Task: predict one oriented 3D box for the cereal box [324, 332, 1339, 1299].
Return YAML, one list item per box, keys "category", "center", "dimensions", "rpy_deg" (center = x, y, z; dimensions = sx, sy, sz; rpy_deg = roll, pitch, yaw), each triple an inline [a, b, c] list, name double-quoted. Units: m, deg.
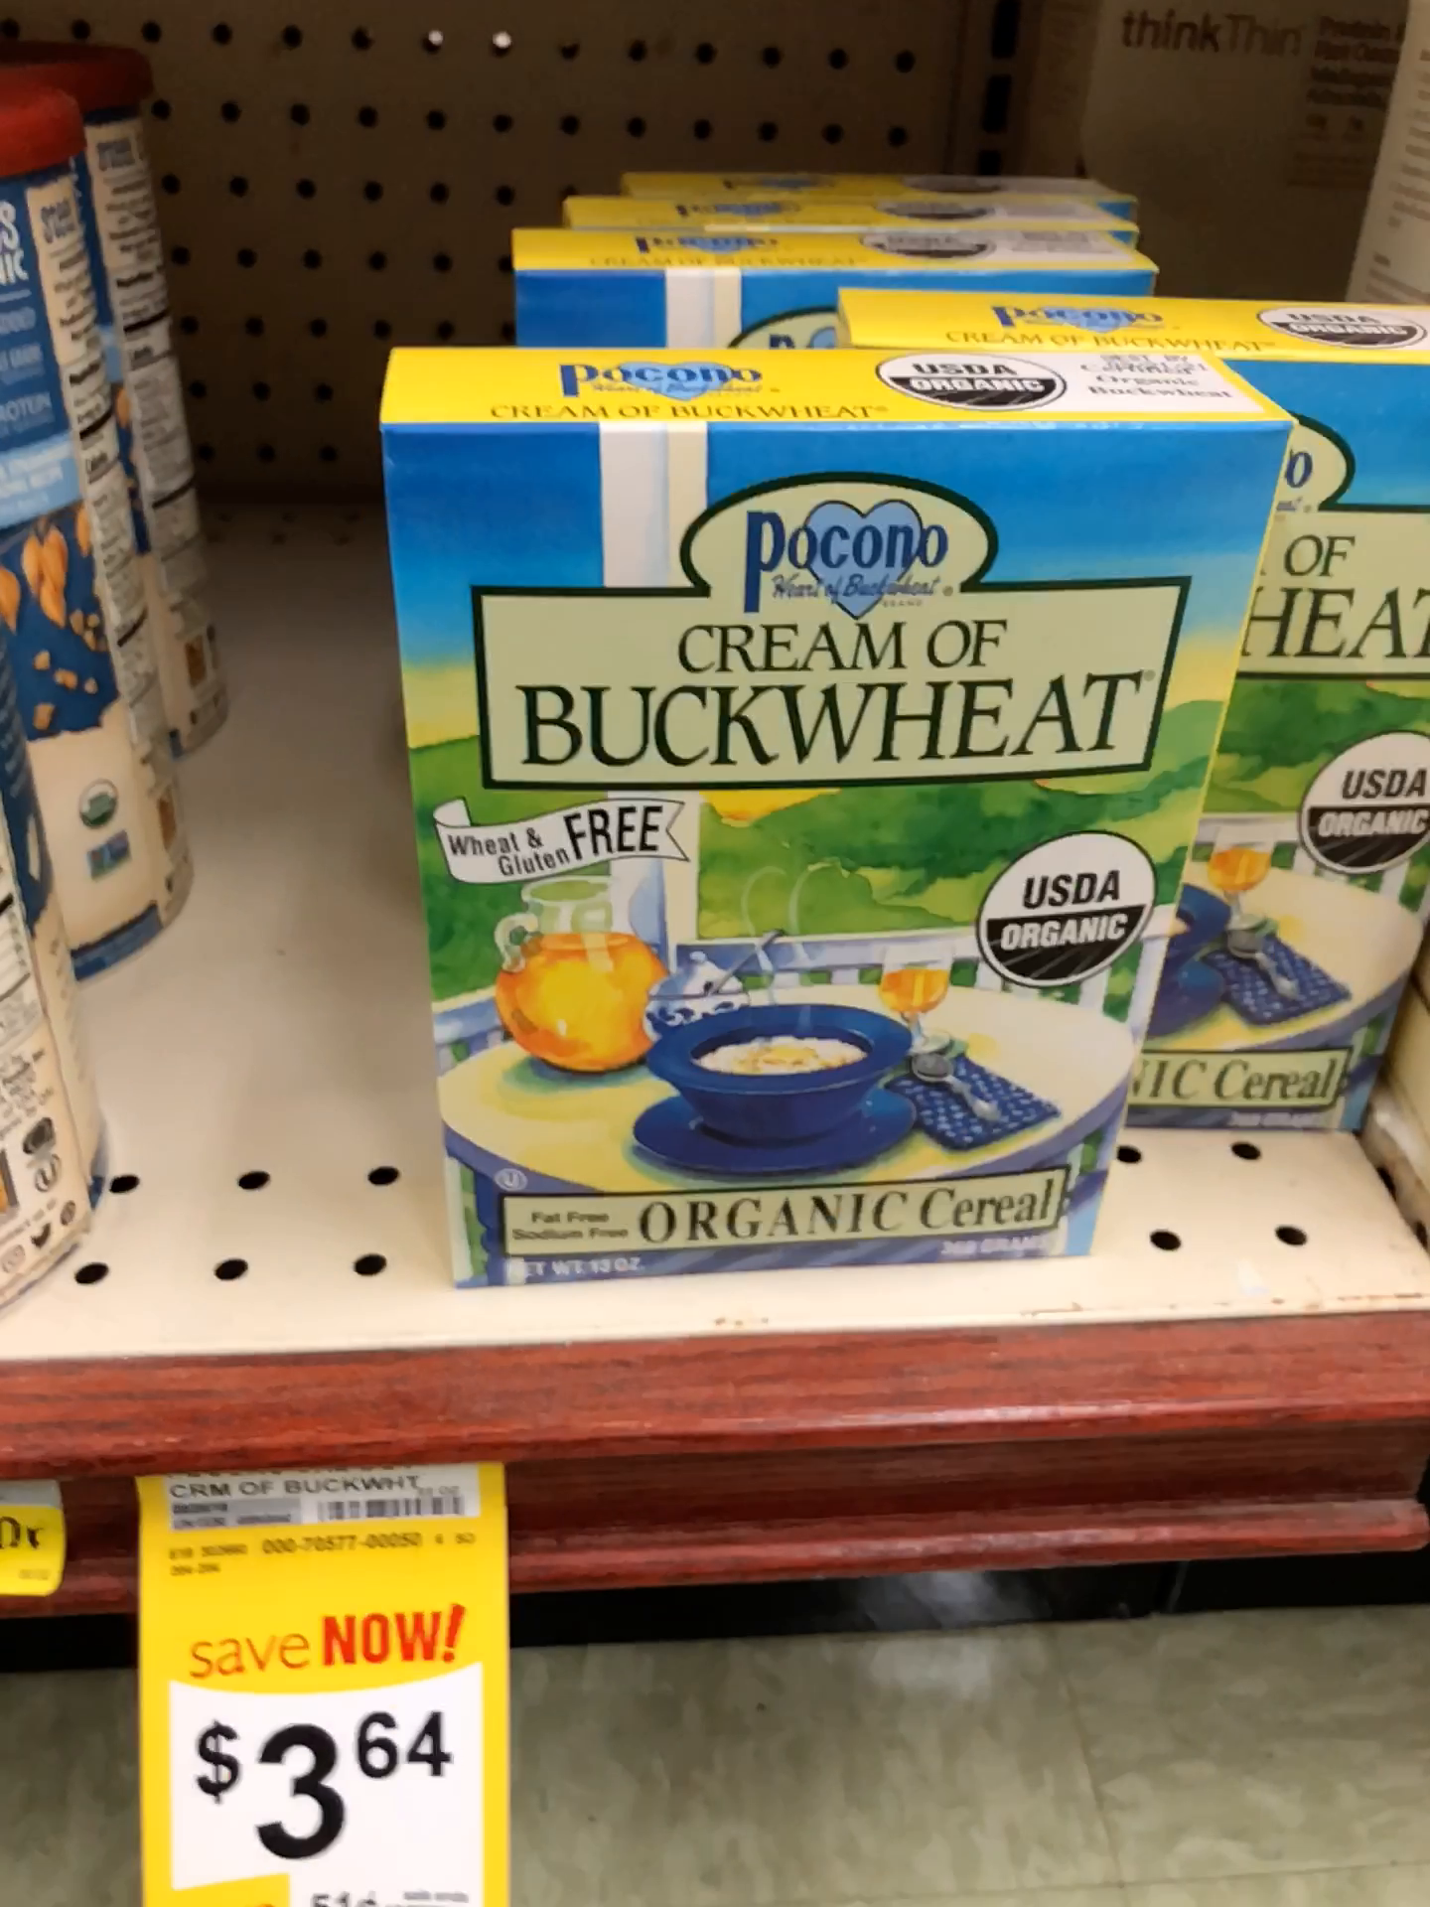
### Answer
- category: "cereal box"
  center: [0.012, -0.016, 0.259]
  dimensions: [0.130, 0.150, 0.040]
  rpy_deg: [-2, 33, -7]
